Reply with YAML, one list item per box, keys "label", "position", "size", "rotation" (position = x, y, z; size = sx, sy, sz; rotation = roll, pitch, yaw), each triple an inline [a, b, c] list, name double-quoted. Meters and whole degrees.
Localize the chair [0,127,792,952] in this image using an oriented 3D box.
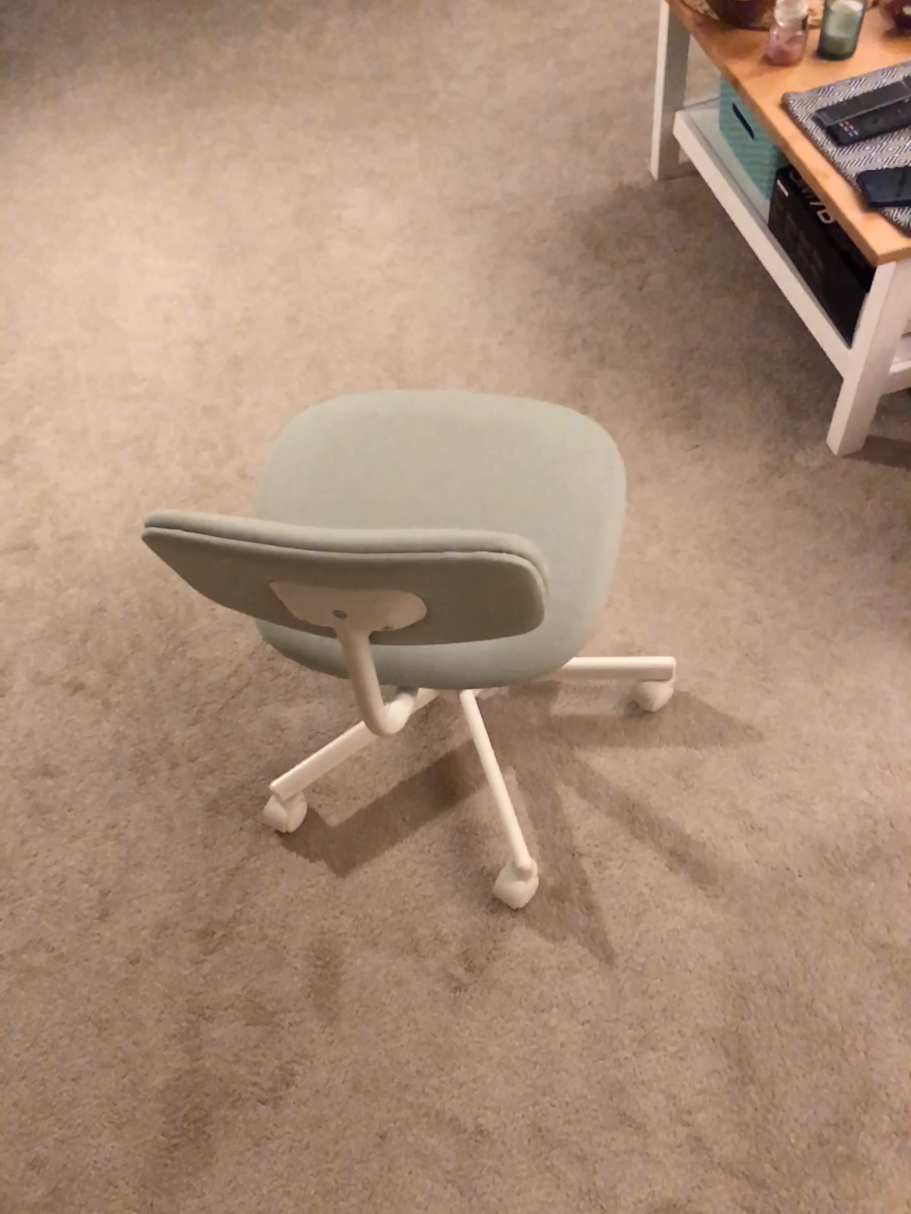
- label: "chair"
  position: [-0.016, -0.061, 1.205]
  size: [0.660, 0.677, 0.643]
  rotation: [8, 59, 12]
